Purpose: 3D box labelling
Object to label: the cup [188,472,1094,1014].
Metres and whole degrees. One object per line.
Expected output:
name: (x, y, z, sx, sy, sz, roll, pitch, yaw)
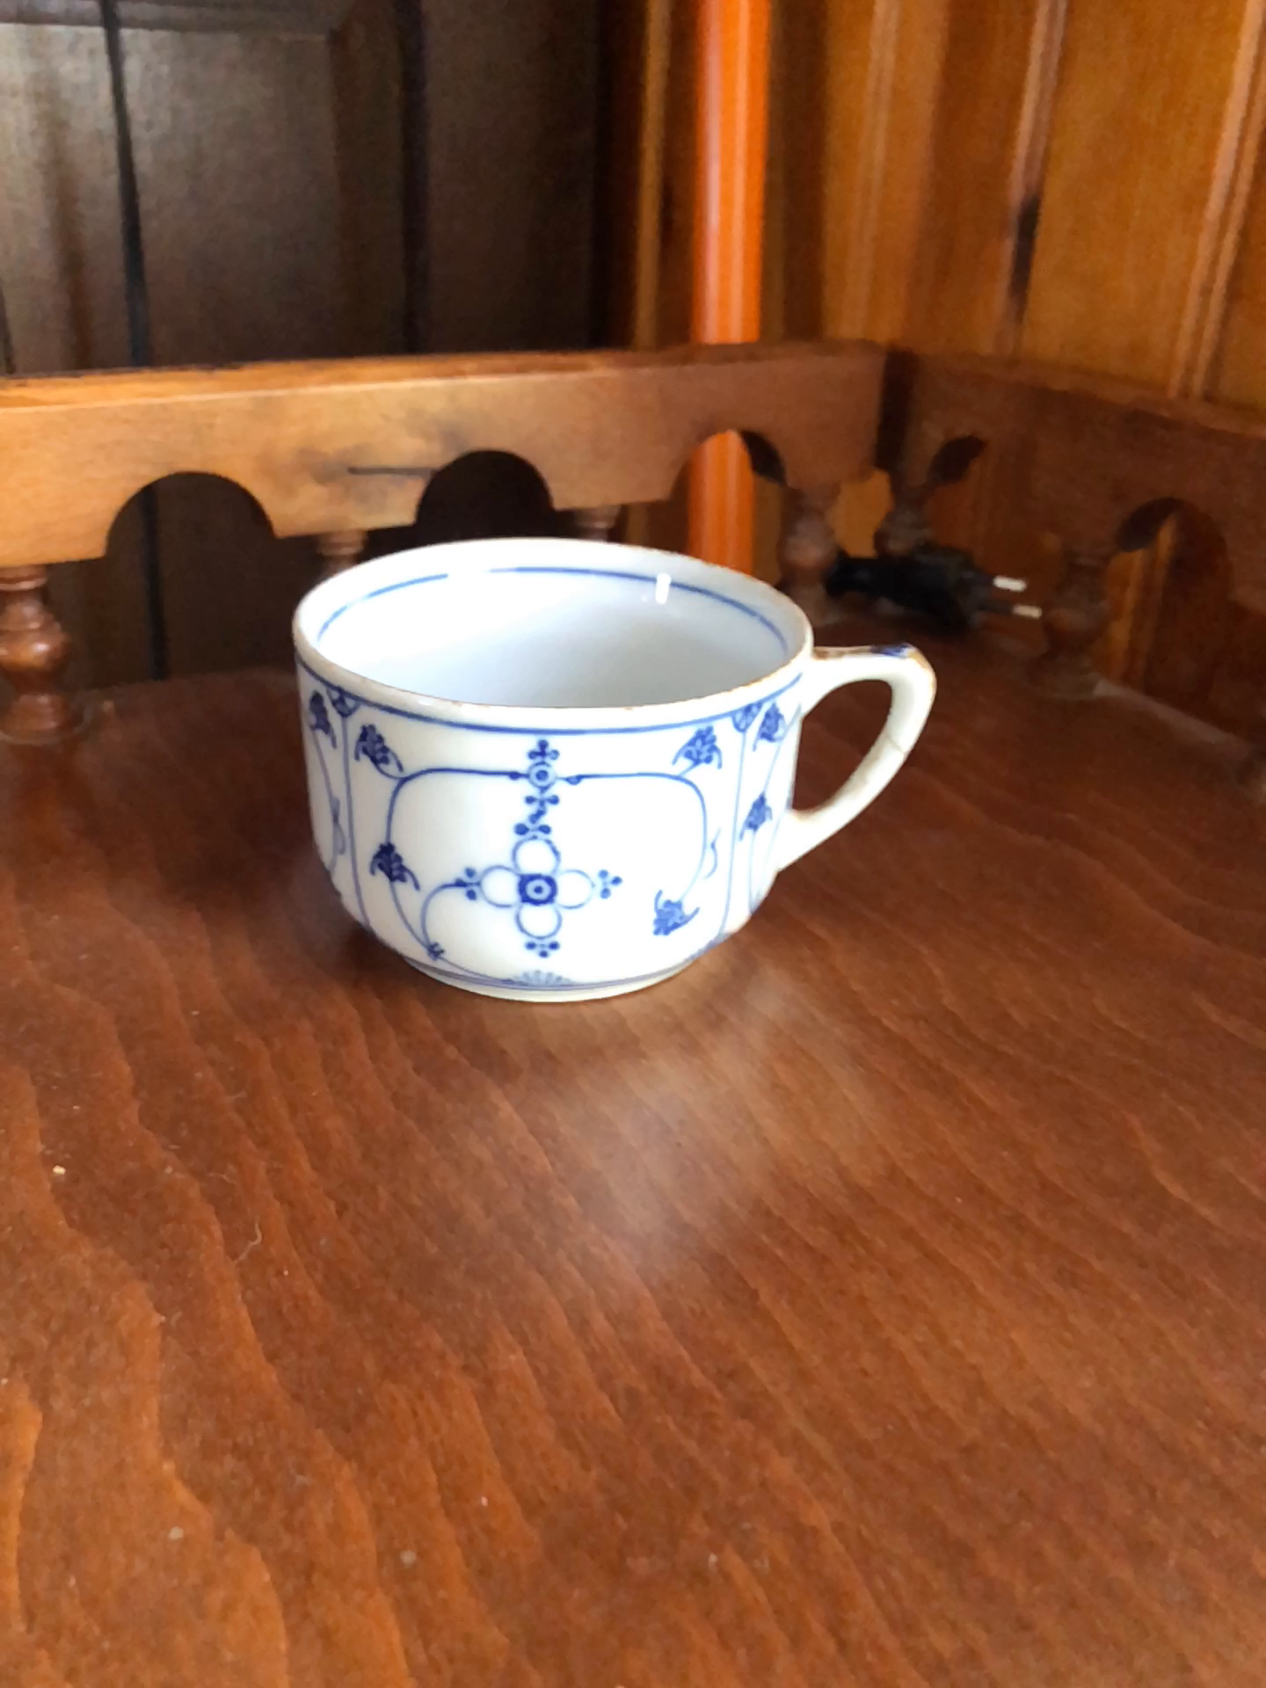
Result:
cup: (0.000, -0.021, 0.236, 0.120, 0.060, 0.080, 1, 27, -2)
